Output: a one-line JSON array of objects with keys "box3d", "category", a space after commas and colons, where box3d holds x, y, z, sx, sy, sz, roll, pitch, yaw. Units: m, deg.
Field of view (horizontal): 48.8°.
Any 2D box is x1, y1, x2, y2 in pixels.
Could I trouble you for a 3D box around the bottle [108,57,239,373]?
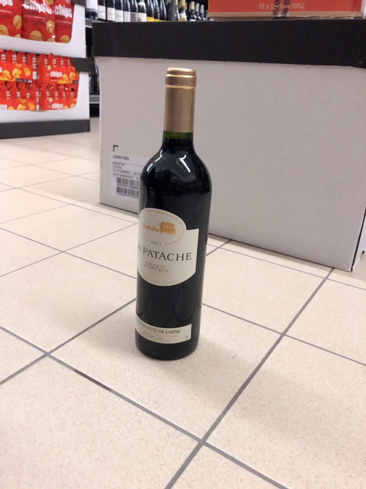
[{"box3d": [-0.014, -0.026, 0.408, 0.090, 0.289, 0.081, 12, 23, 21], "category": "bottle"}]
